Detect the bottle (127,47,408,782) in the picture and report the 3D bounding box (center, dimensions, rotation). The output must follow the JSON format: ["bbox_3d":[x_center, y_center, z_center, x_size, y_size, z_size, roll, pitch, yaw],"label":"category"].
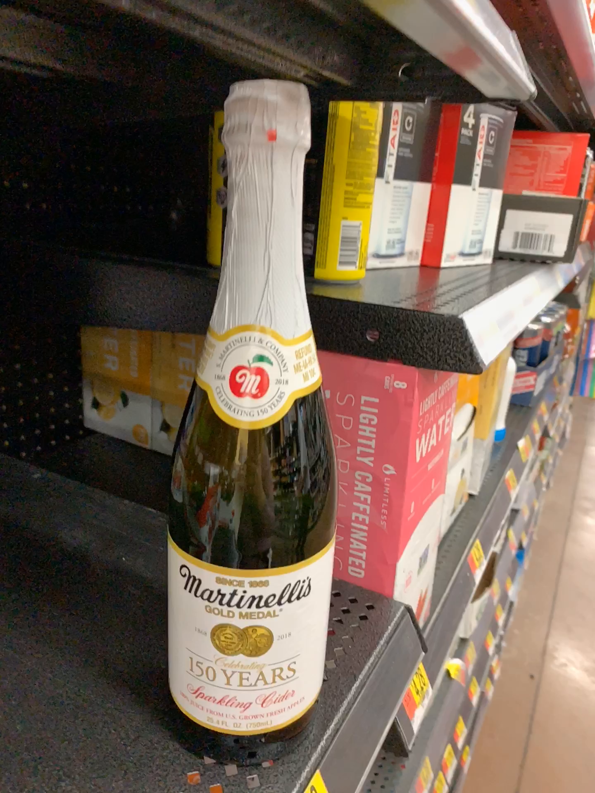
[{"bbox_3d":[-0.019,0.020,0.284,0.089,0.299,0.090,5,19,-2],"label":"bottle"}]
